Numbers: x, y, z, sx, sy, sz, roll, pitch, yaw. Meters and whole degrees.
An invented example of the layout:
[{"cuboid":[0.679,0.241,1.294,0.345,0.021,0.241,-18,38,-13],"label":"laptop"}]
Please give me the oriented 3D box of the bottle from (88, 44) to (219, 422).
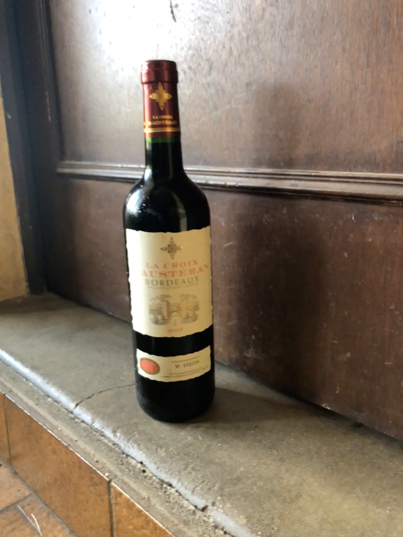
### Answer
[{"cuboid":[-0.029,-0.021,0.368,0.080,0.279,0.080,-1,15,0],"label":"bottle"}]
